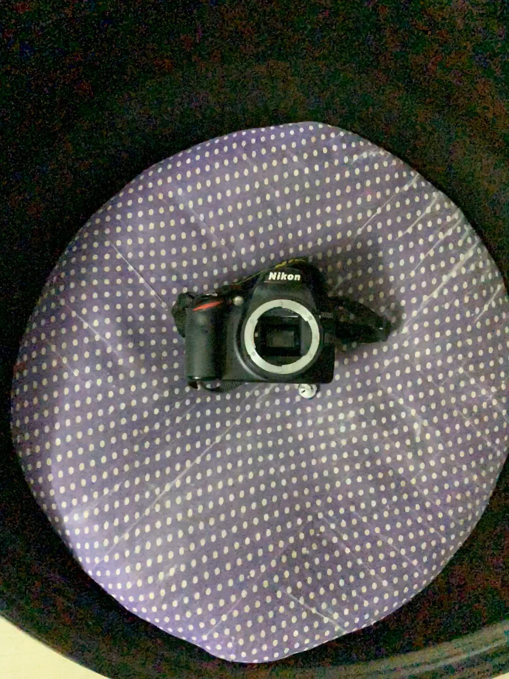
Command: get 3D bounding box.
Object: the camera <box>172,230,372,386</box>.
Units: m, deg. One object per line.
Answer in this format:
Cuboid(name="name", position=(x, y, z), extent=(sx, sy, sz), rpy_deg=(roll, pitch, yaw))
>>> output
Cuboid(name="camera", position=(0.011, -0.021, 0.409), extent=(0.140, 0.080, 0.110), rpy_deg=(0, 87, -2))
